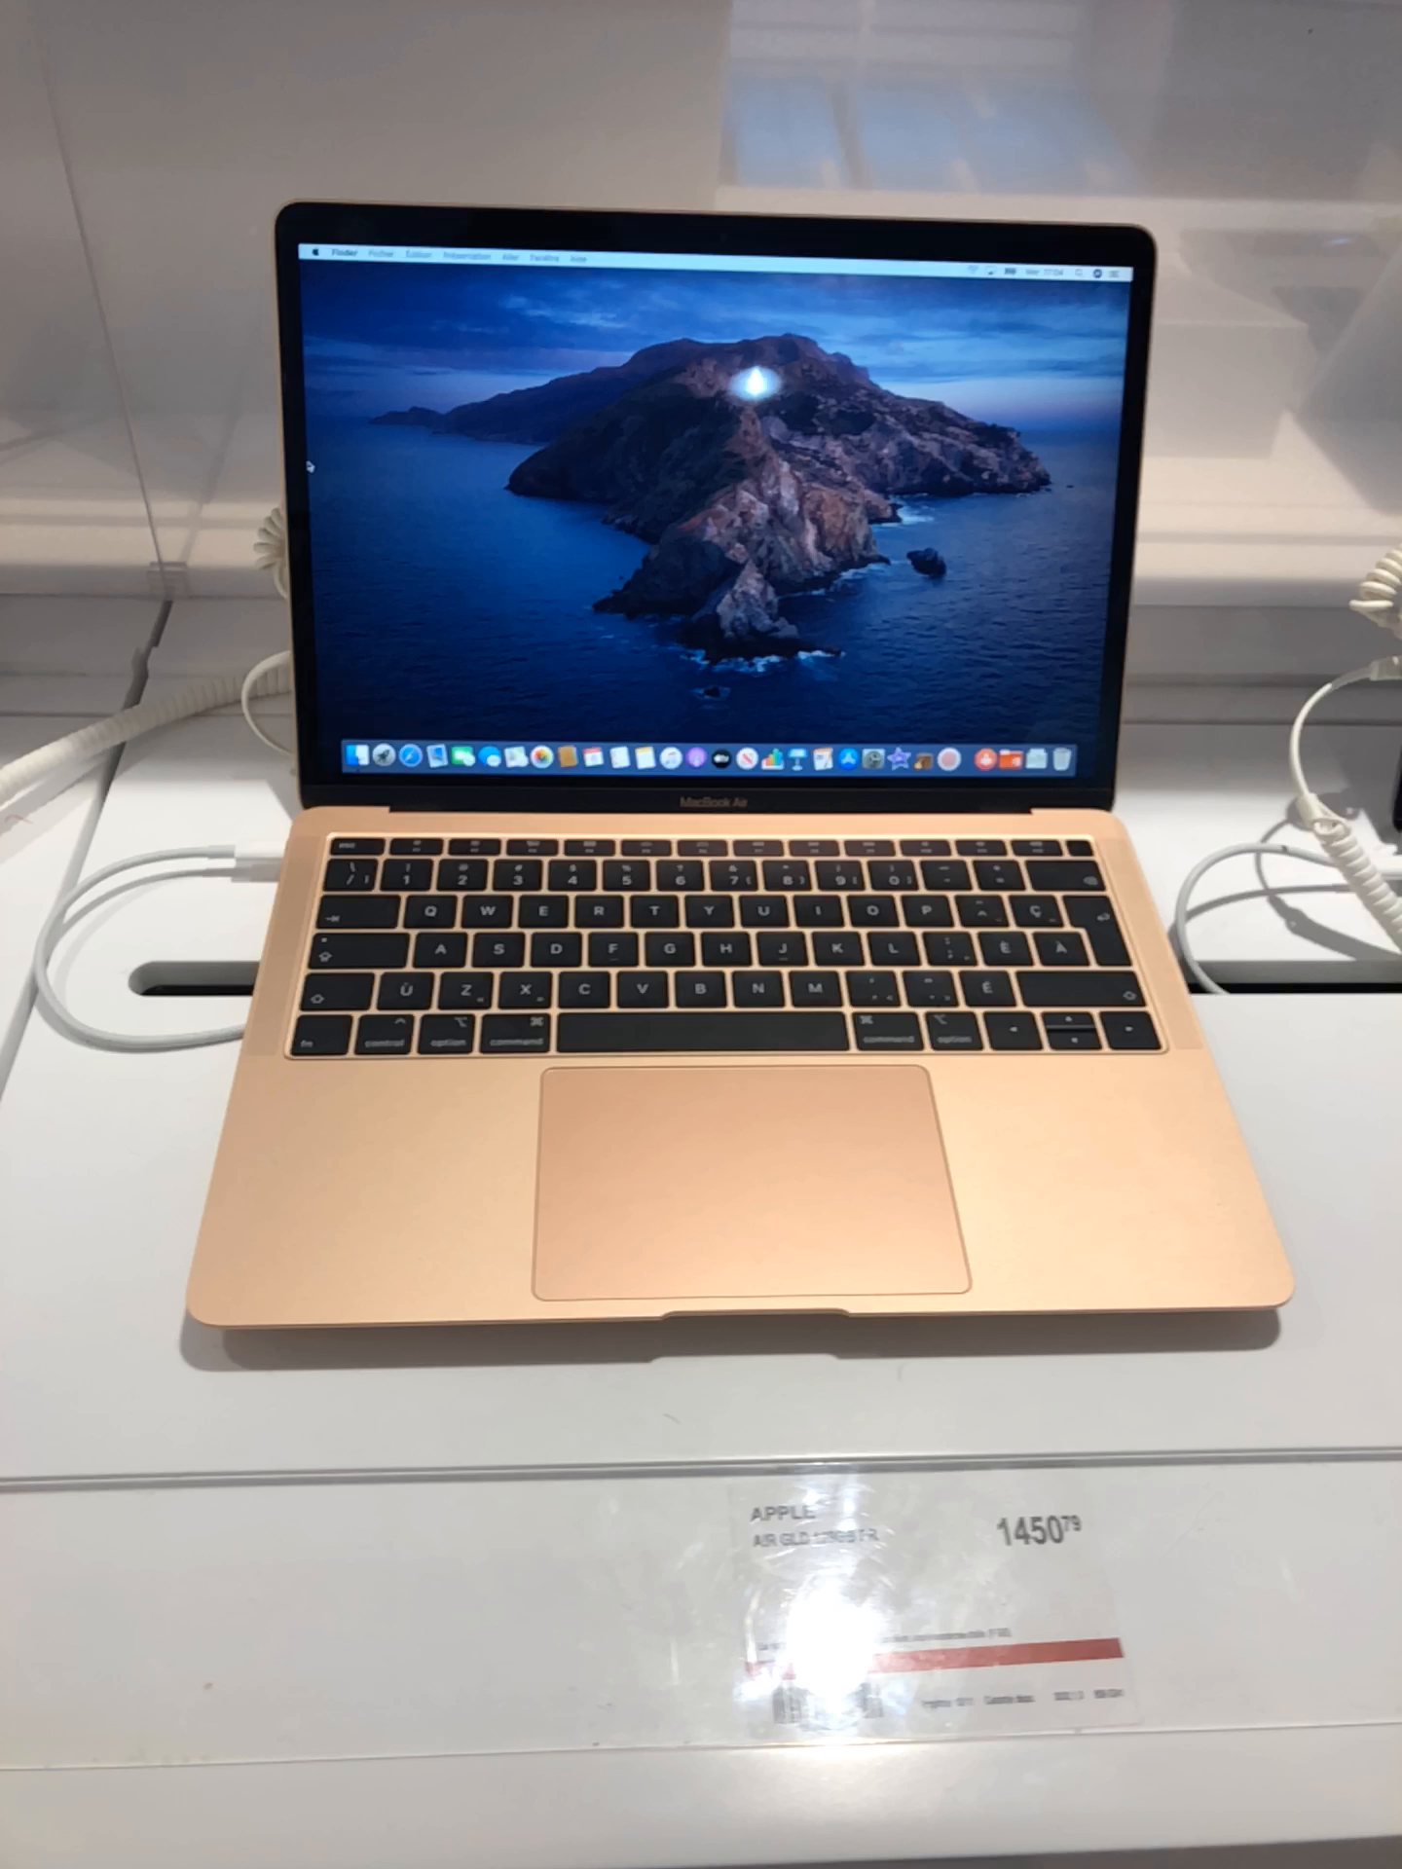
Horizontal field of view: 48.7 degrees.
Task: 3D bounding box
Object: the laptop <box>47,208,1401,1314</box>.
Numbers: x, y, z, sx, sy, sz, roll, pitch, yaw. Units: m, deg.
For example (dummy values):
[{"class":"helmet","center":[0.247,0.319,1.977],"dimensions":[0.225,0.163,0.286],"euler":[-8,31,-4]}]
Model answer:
[{"class":"laptop","center":[0.011,-0.068,0.468],"dimensions":[0.291,0.170,0.304],"euler":[0,45,-4]}]
